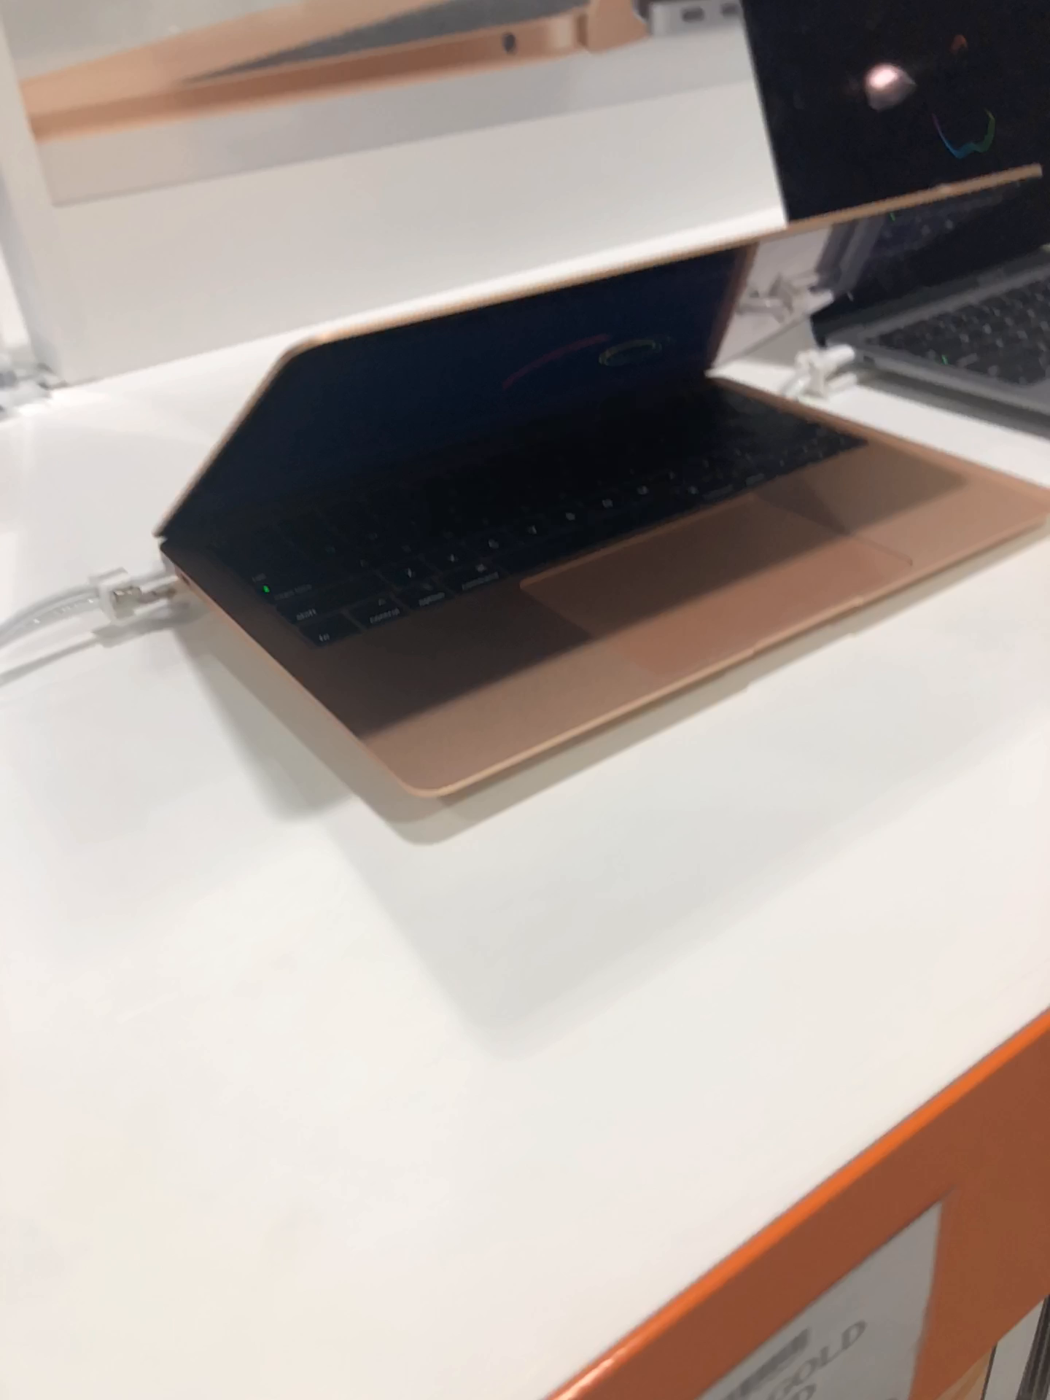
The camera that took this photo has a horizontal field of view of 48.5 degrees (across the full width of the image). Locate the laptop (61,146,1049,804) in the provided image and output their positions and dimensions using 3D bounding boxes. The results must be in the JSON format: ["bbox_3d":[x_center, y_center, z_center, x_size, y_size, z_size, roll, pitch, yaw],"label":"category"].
[{"bbox_3d":[0.023,-0.113,0.426,0.296,0.106,0.200,-24,38,-27],"label":"laptop"}]
